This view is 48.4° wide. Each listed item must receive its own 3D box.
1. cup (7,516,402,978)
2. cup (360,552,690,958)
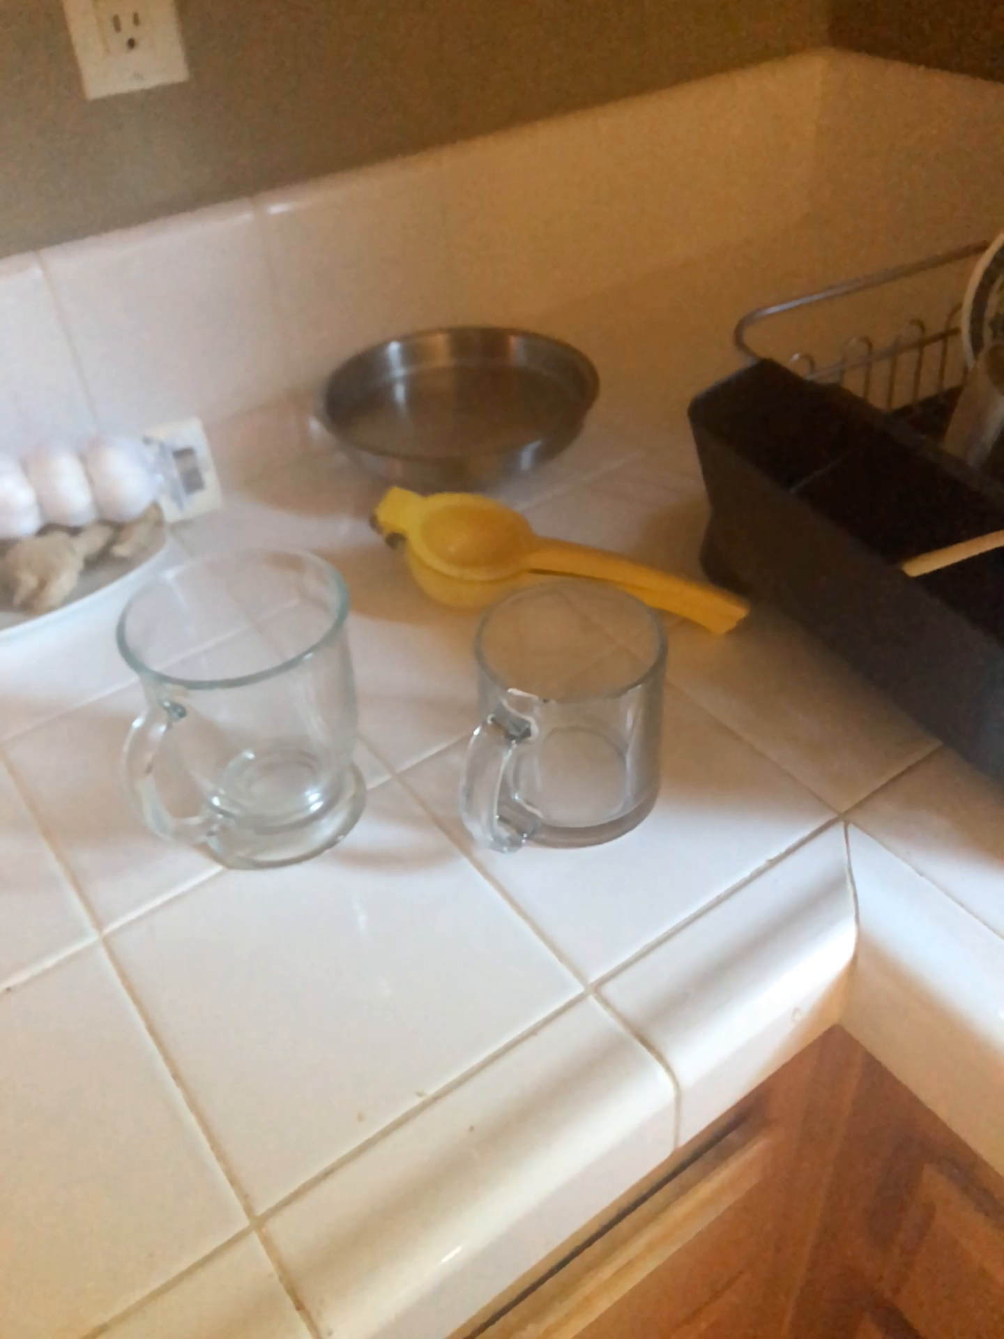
[{"bbox_3d":[-0.118,0.032,0.496,0.090,0.139,0.131,9,43,15],"label":"cup"},{"bbox_3d":[0.015,0.035,0.507,0.090,0.109,0.121,21,46,26],"label":"cup"}]
